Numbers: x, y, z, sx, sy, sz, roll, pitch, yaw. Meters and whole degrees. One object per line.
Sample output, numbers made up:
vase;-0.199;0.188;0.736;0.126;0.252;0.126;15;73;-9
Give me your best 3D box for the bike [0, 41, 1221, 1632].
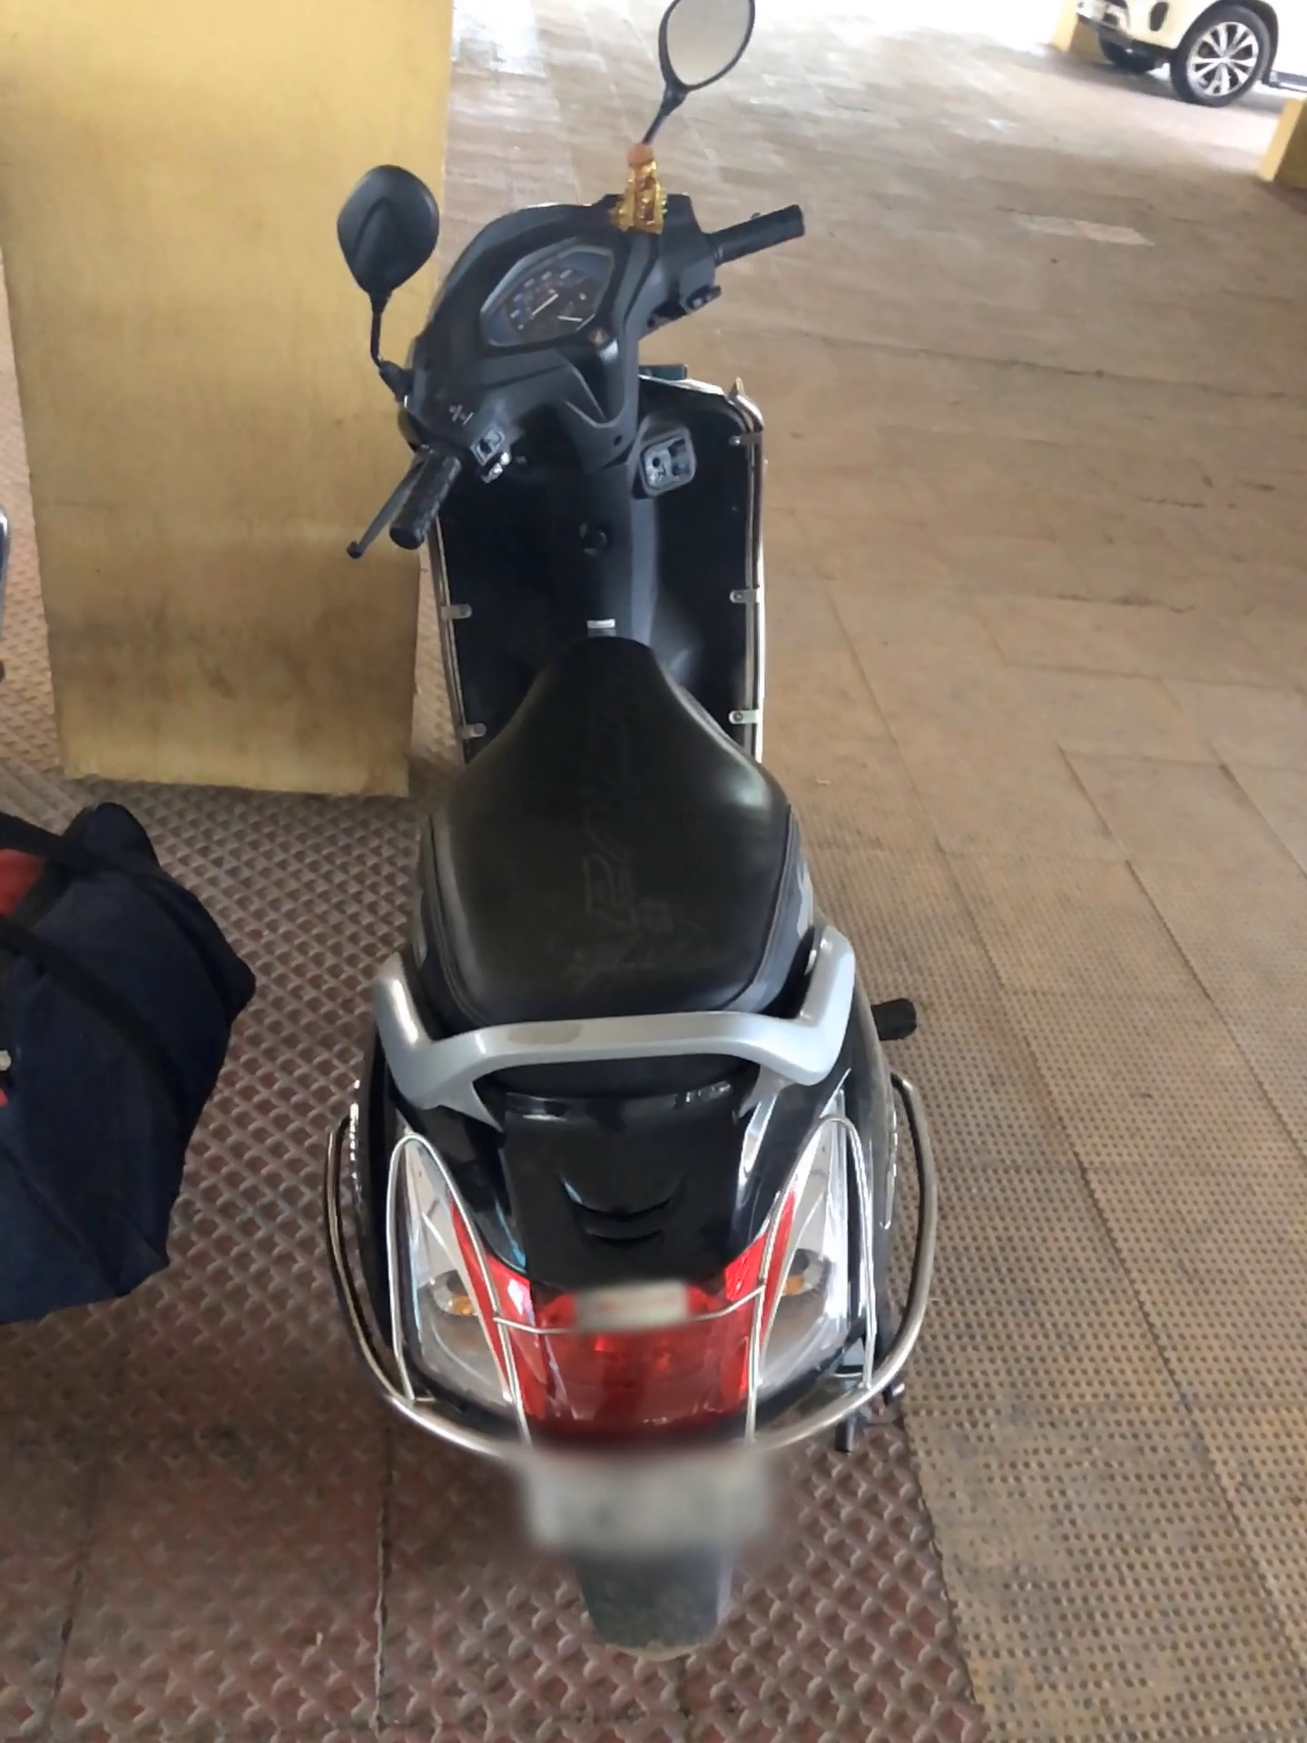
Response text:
bike;-0.219;-0.224;1.609;0.621;0.882;1.667;1;39;-13
